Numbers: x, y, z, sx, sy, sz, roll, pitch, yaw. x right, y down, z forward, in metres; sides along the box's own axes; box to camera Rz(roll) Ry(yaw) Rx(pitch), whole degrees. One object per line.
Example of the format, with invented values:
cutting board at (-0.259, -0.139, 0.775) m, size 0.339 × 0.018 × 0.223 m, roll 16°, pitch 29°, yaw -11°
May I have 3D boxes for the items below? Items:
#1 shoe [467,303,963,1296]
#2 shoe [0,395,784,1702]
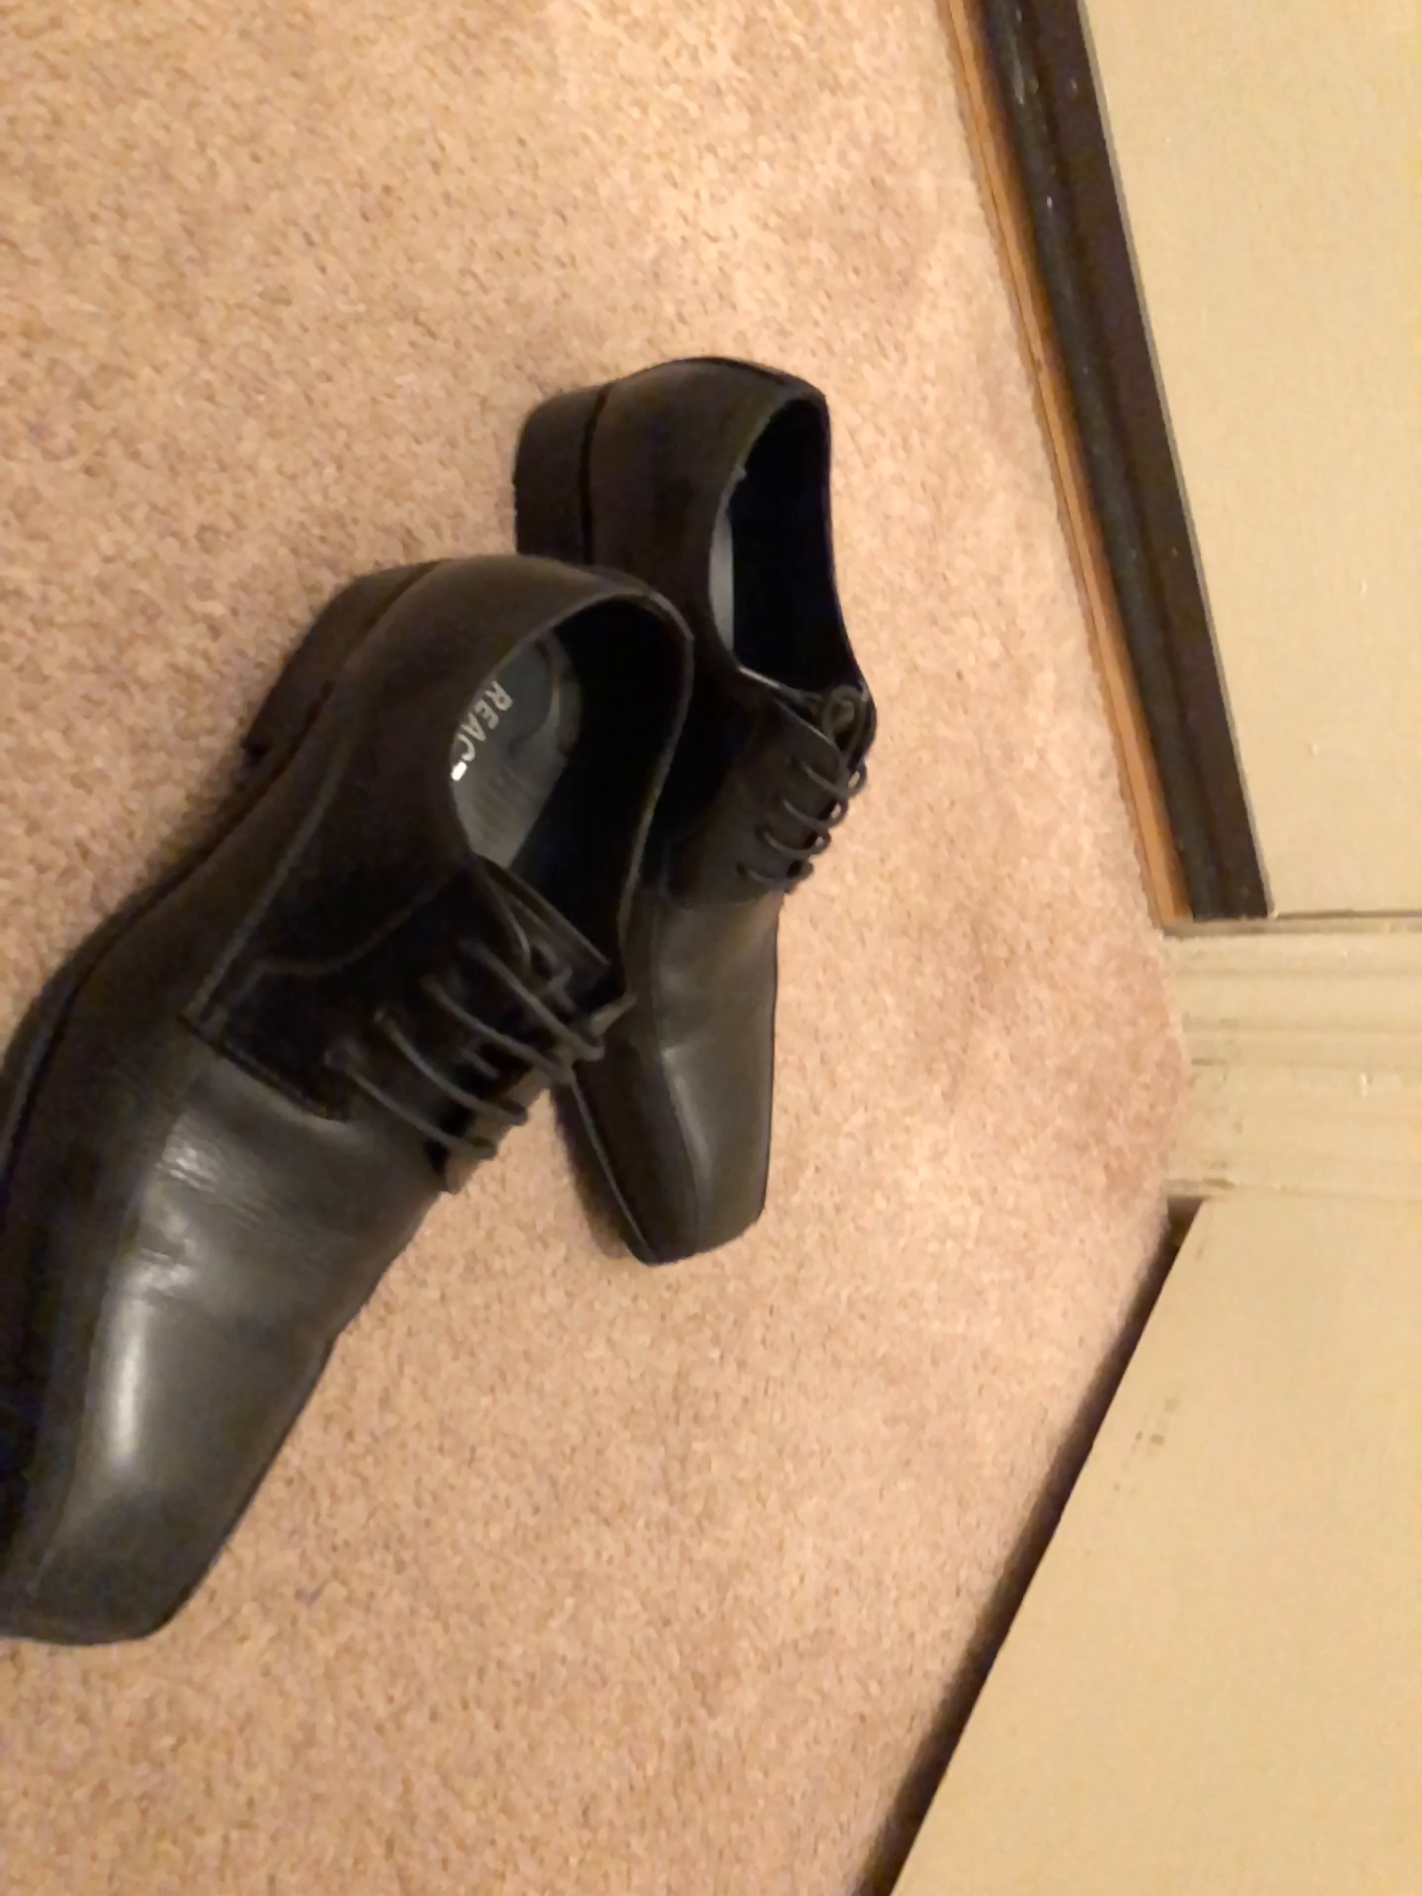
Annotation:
shoe at (0.005, -0.046, 0.546) m, size 0.116 × 0.110 × 0.297 m, roll -8°, pitch 96°, yaw -53°
shoe at (-0.092, 0.016, 0.393) m, size 0.110 × 0.107 × 0.284 m, roll 44°, pitch 56°, yaw -44°
